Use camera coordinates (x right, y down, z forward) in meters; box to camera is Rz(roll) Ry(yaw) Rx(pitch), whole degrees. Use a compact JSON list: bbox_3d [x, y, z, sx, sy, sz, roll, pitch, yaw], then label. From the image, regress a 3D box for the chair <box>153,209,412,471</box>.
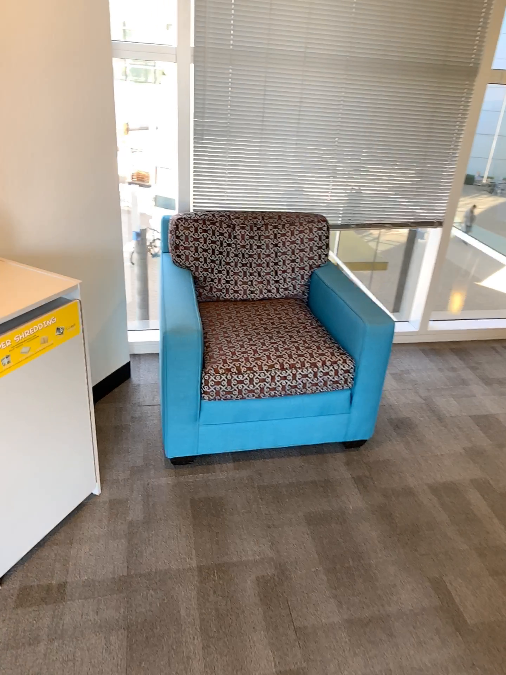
[{"bbox_3d":[0.023,-0.058,2.396,0.910,0.825,0.926,-2,28,-11],"label":"chair"}]
